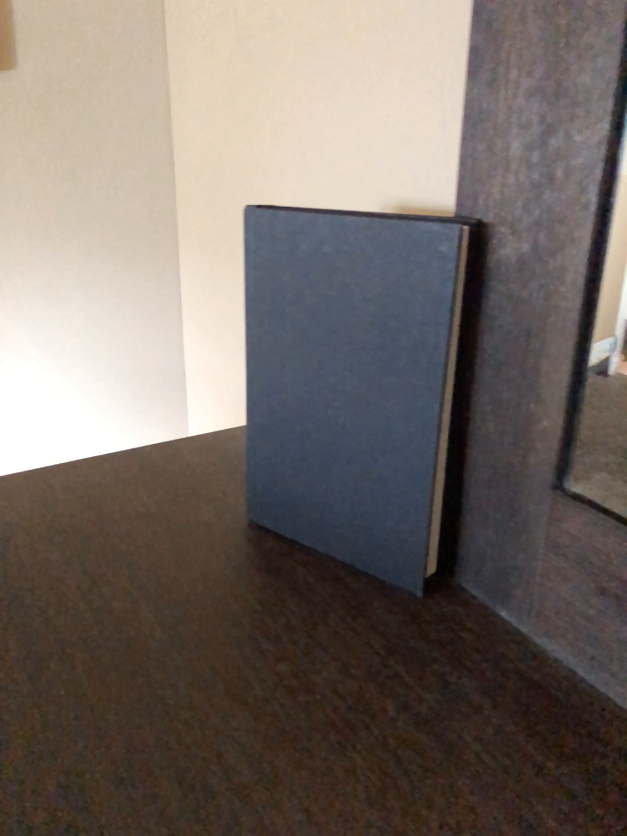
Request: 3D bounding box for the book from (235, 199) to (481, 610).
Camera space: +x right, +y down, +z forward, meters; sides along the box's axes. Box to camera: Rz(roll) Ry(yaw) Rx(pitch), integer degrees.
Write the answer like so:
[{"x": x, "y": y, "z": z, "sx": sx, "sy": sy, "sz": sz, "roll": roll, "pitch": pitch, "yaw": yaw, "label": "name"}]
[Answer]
[{"x": 0.018, "y": -0.012, "z": 0.431, "sx": 0.150, "sy": 0.229, "sz": 0.028, "roll": 17, "pitch": 26, "yaw": 35, "label": "book"}]
